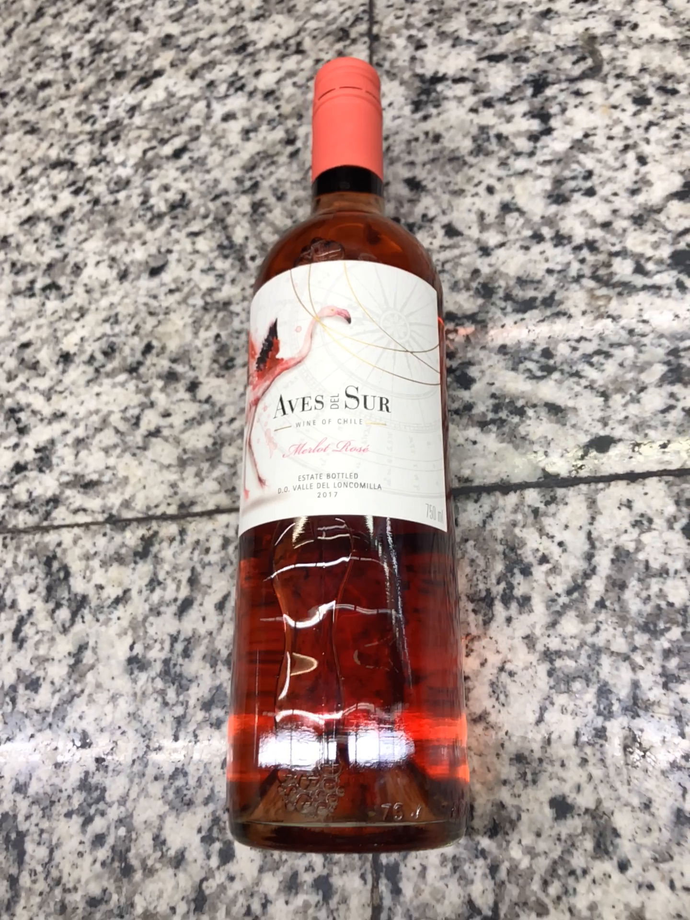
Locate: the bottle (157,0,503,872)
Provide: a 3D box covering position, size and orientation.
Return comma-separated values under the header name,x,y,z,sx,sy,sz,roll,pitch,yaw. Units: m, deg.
name,x,y,z,sx,sy,sz,roll,pitch,yaw
bottle,-0.002,-0.035,0.304,0.090,0.070,0.341,-7,66,15
